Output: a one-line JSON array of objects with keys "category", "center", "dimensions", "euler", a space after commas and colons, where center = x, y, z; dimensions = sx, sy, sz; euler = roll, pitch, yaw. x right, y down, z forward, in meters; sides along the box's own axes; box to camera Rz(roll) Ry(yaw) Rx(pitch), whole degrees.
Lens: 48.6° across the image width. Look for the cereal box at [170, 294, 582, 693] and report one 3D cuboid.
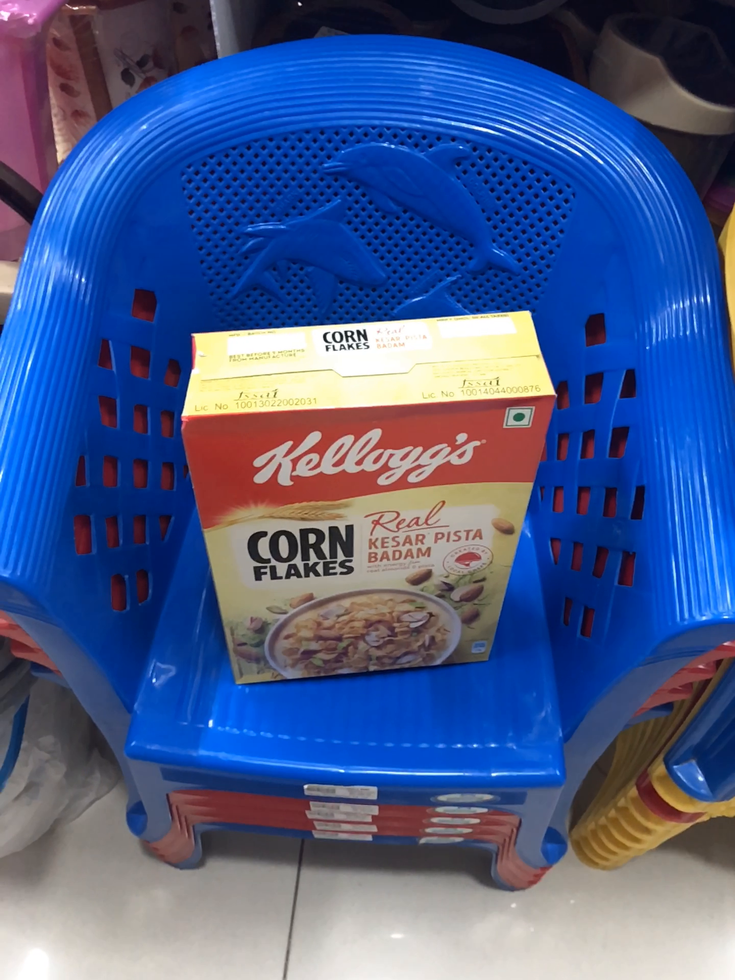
[{"category": "cereal box", "center": [0.001, 0.019, 0.498], "dimensions": [0.190, 0.270, 0.070], "euler": [-4, 49, -4]}]
